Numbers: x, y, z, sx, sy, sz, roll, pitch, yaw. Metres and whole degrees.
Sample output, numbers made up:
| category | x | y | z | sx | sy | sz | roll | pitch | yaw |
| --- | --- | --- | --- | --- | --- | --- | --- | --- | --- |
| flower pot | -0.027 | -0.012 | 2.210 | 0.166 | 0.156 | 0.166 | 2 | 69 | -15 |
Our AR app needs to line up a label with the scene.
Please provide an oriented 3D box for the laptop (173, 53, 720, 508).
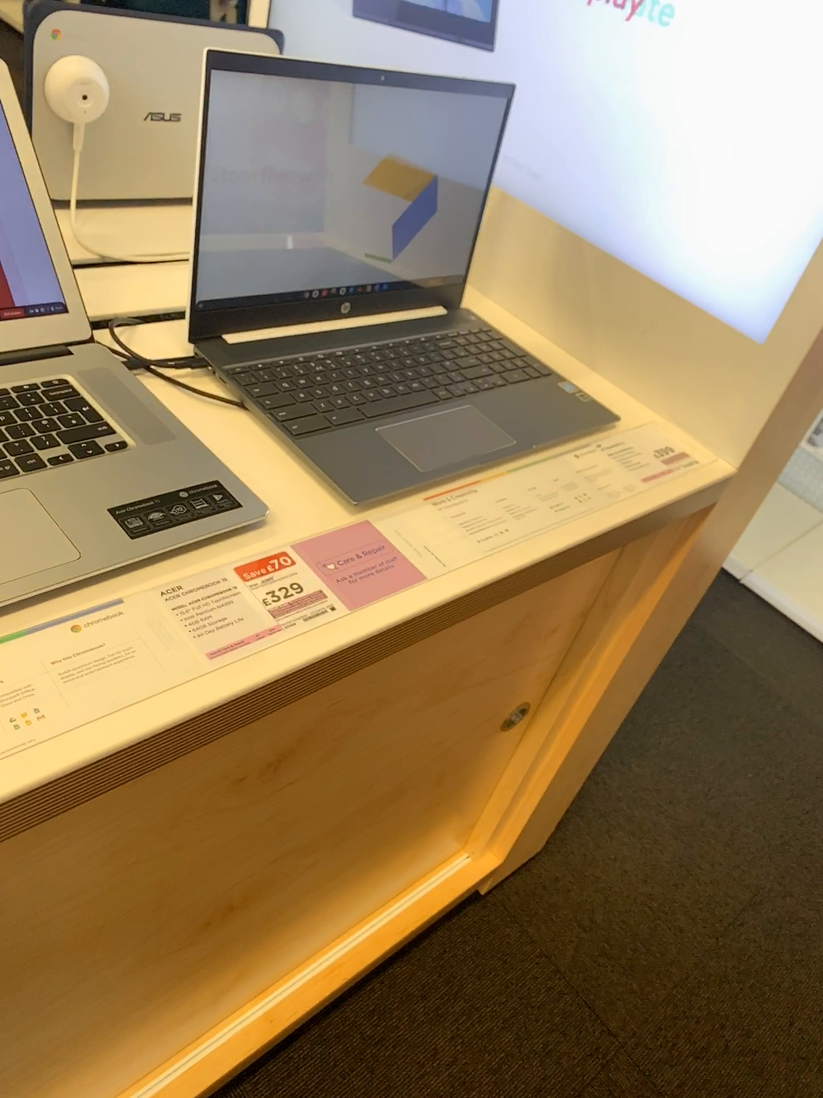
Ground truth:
| category | x | y | z | sx | sy | sz | roll | pitch | yaw |
| --- | --- | --- | --- | --- | --- | --- | --- | --- | --- |
| laptop | 0.026 | -0.248 | 0.759 | 0.360 | 0.233 | 0.268 | -20 | 52 | -40 |

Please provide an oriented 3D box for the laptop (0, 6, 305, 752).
| category | x | y | z | sx | sy | sz | roll | pitch | yaw |
| --- | --- | --- | --- | --- | --- | --- | --- | --- | --- |
| laptop | -0.357 | -0.161 | 0.546 | 0.378 | 0.174 | 0.426 | -22 | 54 | -40 |
